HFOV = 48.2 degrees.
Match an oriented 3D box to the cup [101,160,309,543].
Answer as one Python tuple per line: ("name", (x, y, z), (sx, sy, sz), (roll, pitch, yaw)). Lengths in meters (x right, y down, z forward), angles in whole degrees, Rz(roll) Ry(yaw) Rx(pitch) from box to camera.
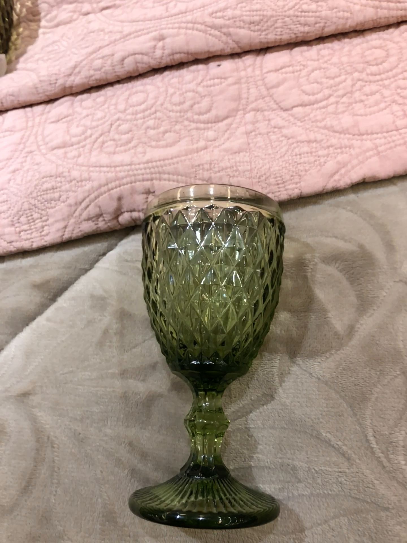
("cup", (0.012, 0.043, 0.263), (0.090, 0.080, 0.190), (-2, 69, 12))
